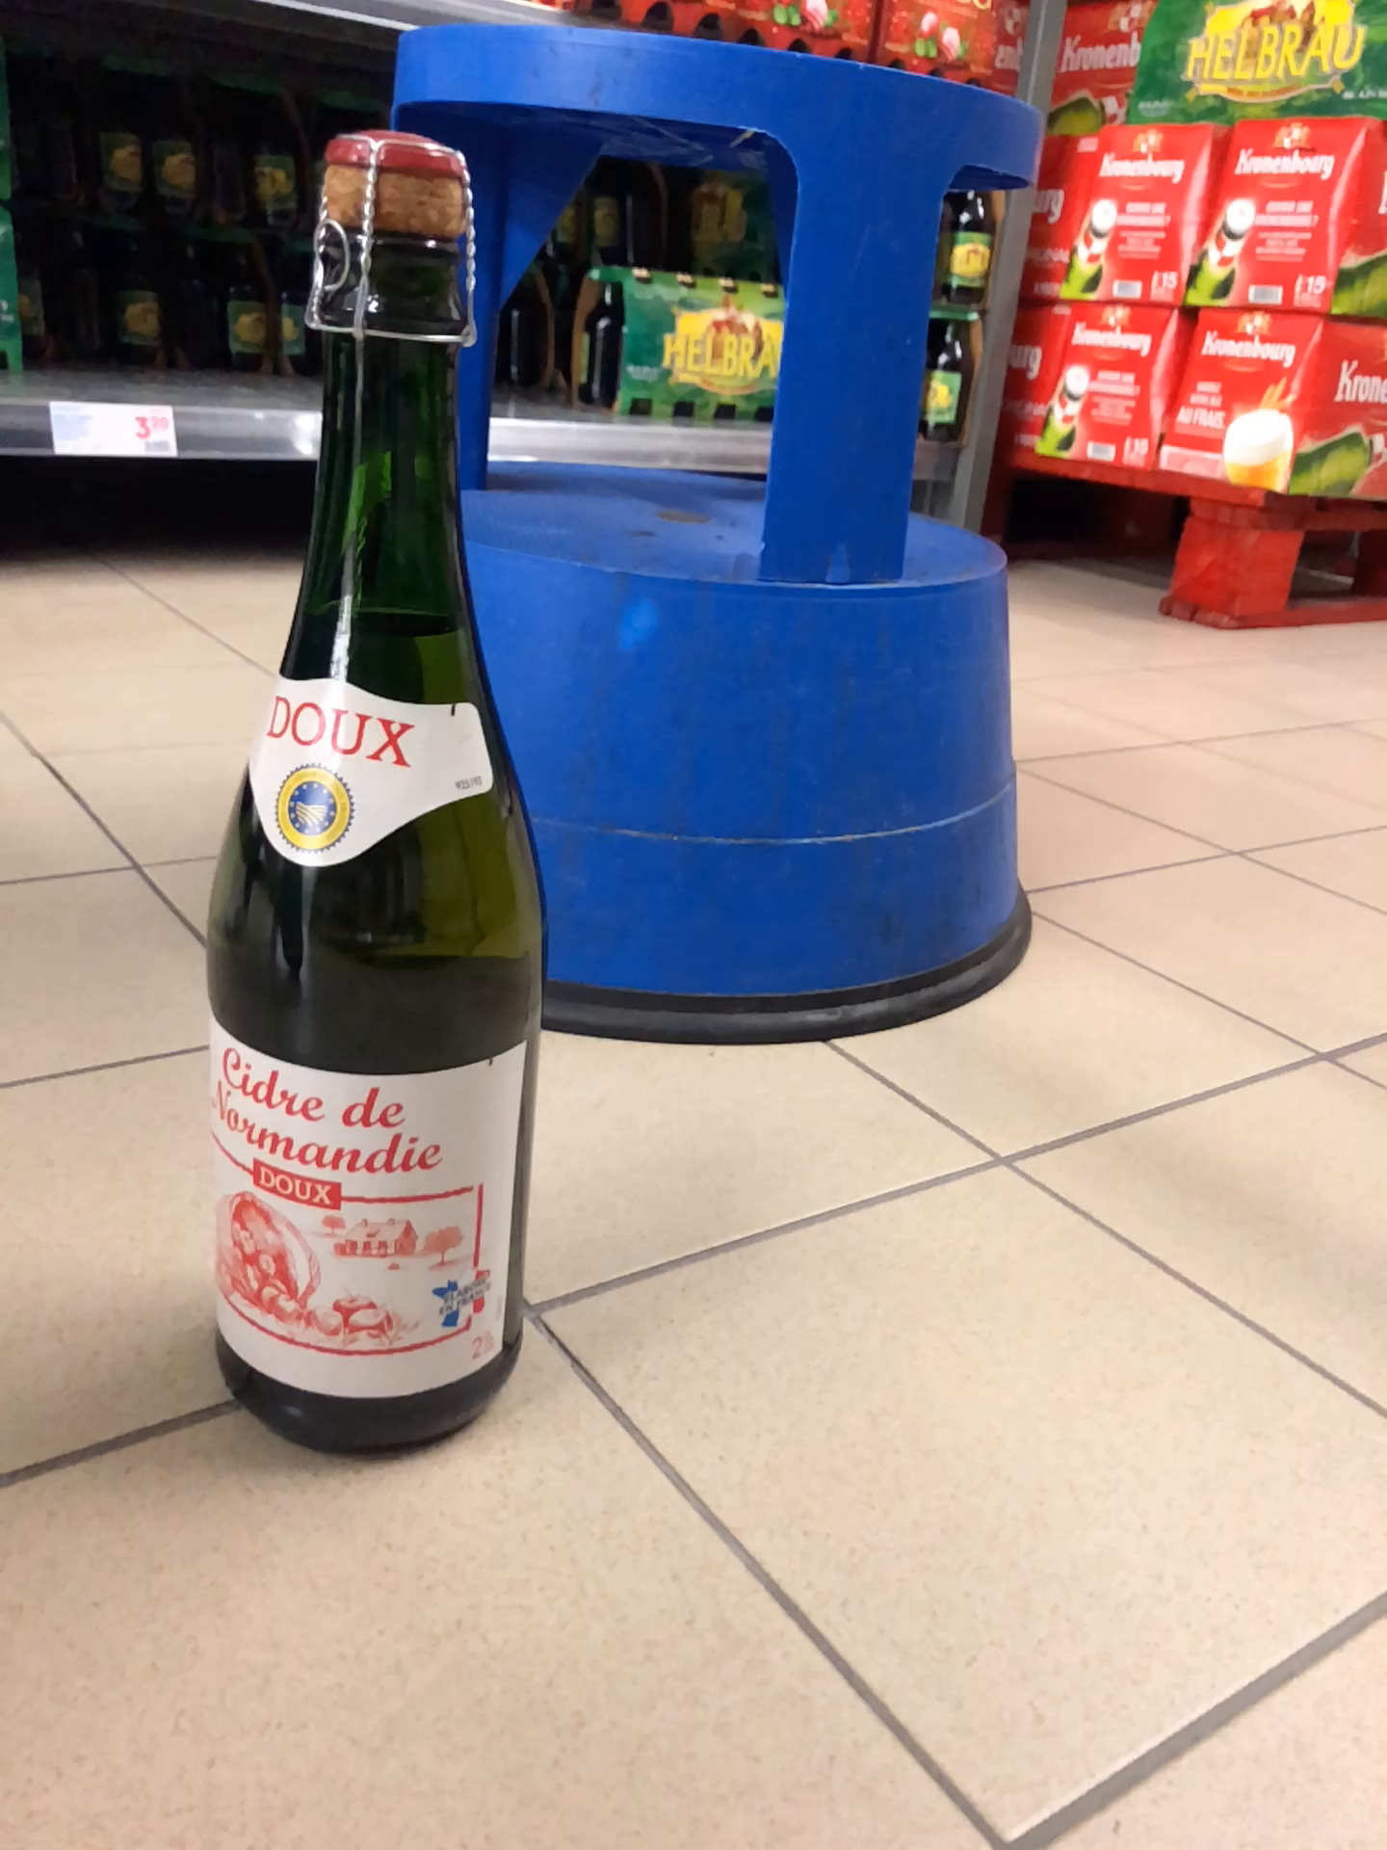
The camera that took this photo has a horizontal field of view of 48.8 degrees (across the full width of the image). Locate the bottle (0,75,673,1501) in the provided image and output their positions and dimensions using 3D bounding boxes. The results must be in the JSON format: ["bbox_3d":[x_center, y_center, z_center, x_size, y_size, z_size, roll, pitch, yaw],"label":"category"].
[{"bbox_3d":[-0.083,-0.027,0.358,0.100,0.289,0.091,16,23,24],"label":"bottle"}]
